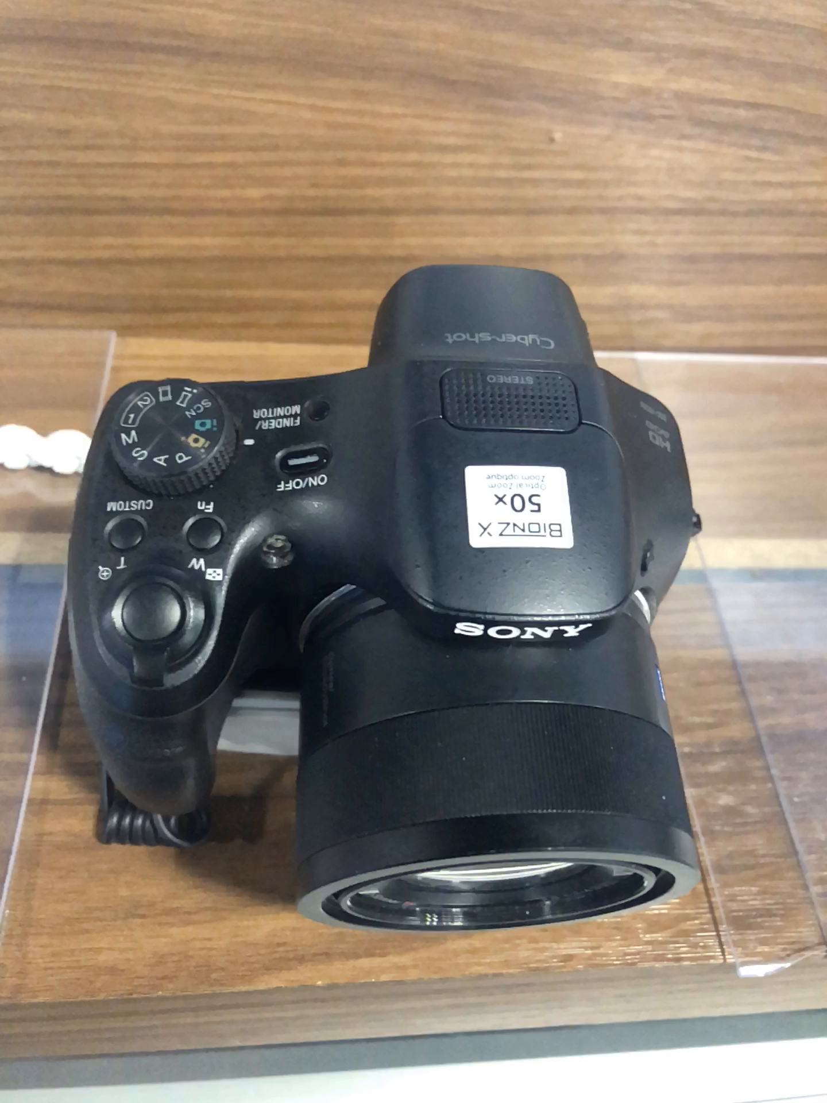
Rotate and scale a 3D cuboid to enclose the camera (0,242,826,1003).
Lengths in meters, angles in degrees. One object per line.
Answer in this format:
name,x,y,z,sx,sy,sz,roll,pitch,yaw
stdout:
camera,-0.002,0.013,0.177,0.125,0.084,0.110,1,50,-7
